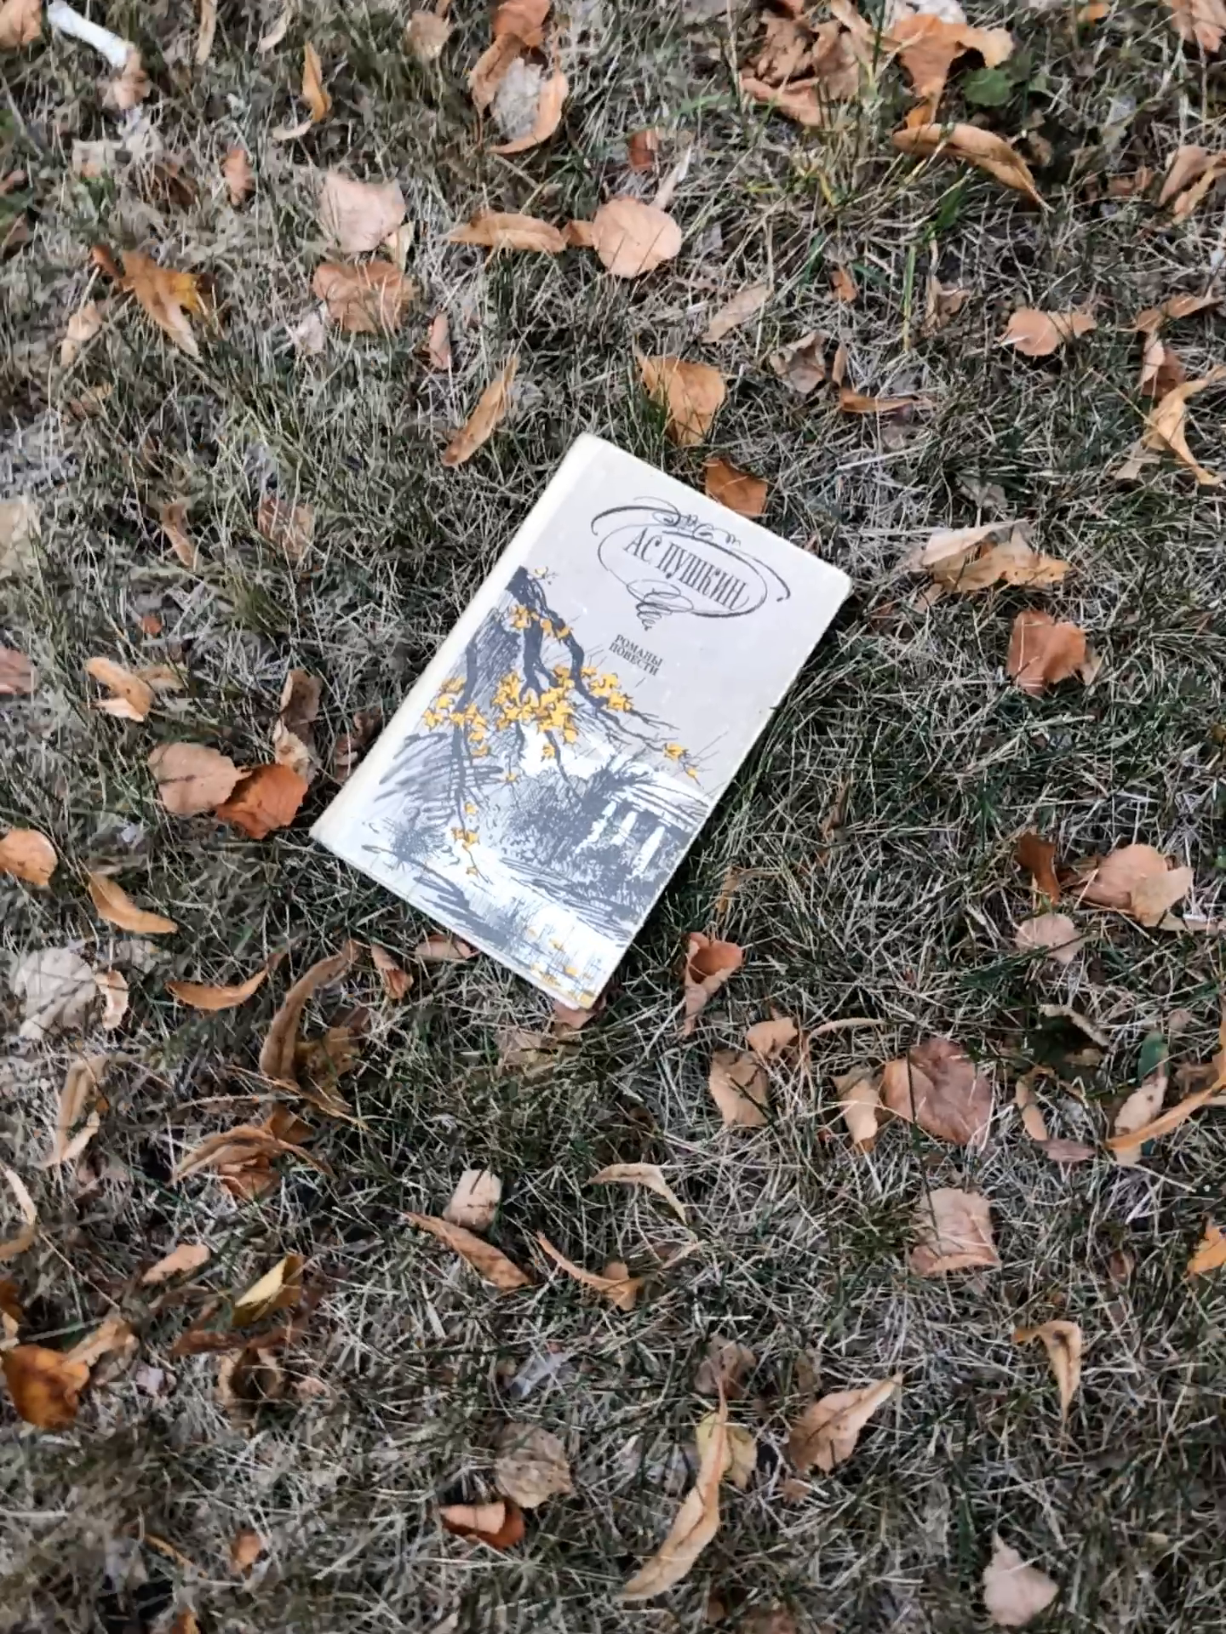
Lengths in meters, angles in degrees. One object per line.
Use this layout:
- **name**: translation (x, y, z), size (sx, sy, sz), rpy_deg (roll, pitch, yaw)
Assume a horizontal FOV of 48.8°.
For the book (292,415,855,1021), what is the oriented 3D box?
- **book**: translation (-0.014, -0.043, 0.552), size (0.135, 0.021, 0.211), rpy_deg (31, 83, 7)
